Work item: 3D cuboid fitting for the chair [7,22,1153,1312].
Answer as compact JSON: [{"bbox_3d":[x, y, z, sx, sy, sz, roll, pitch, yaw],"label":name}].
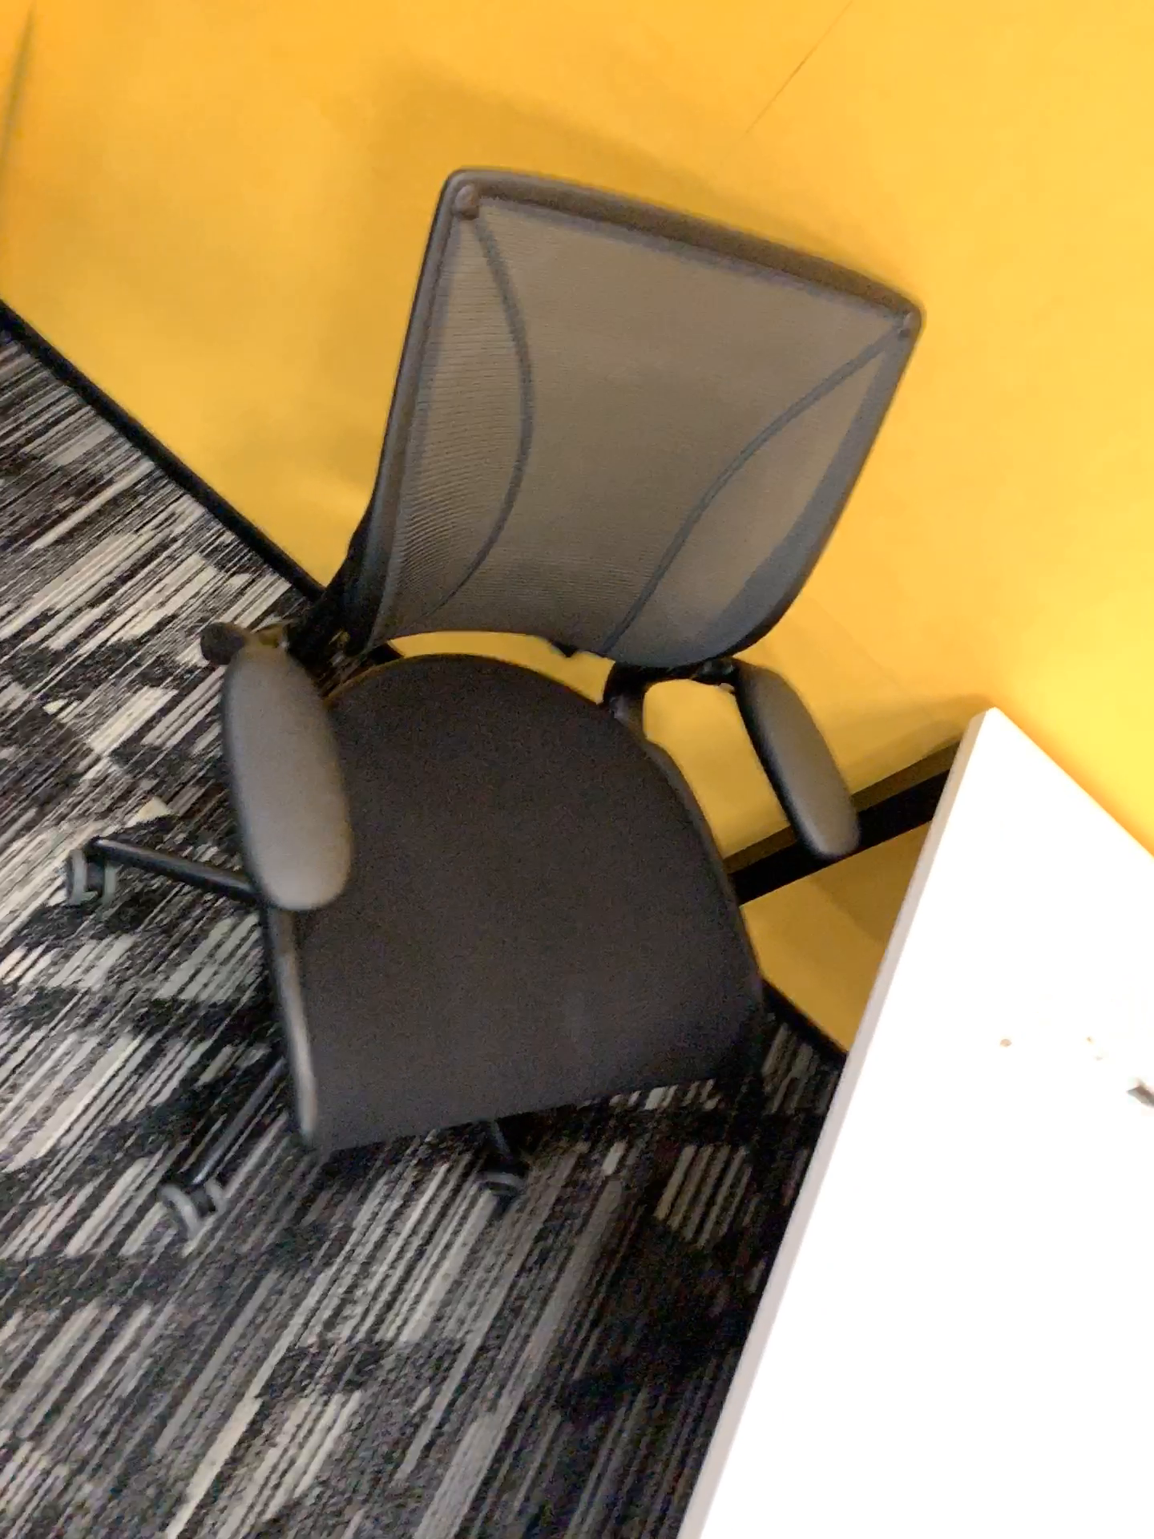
[{"bbox_3d":[-0.069,0.043,0.947,0.542,0.815,0.571,-5,71,-35],"label":"chair"}]
